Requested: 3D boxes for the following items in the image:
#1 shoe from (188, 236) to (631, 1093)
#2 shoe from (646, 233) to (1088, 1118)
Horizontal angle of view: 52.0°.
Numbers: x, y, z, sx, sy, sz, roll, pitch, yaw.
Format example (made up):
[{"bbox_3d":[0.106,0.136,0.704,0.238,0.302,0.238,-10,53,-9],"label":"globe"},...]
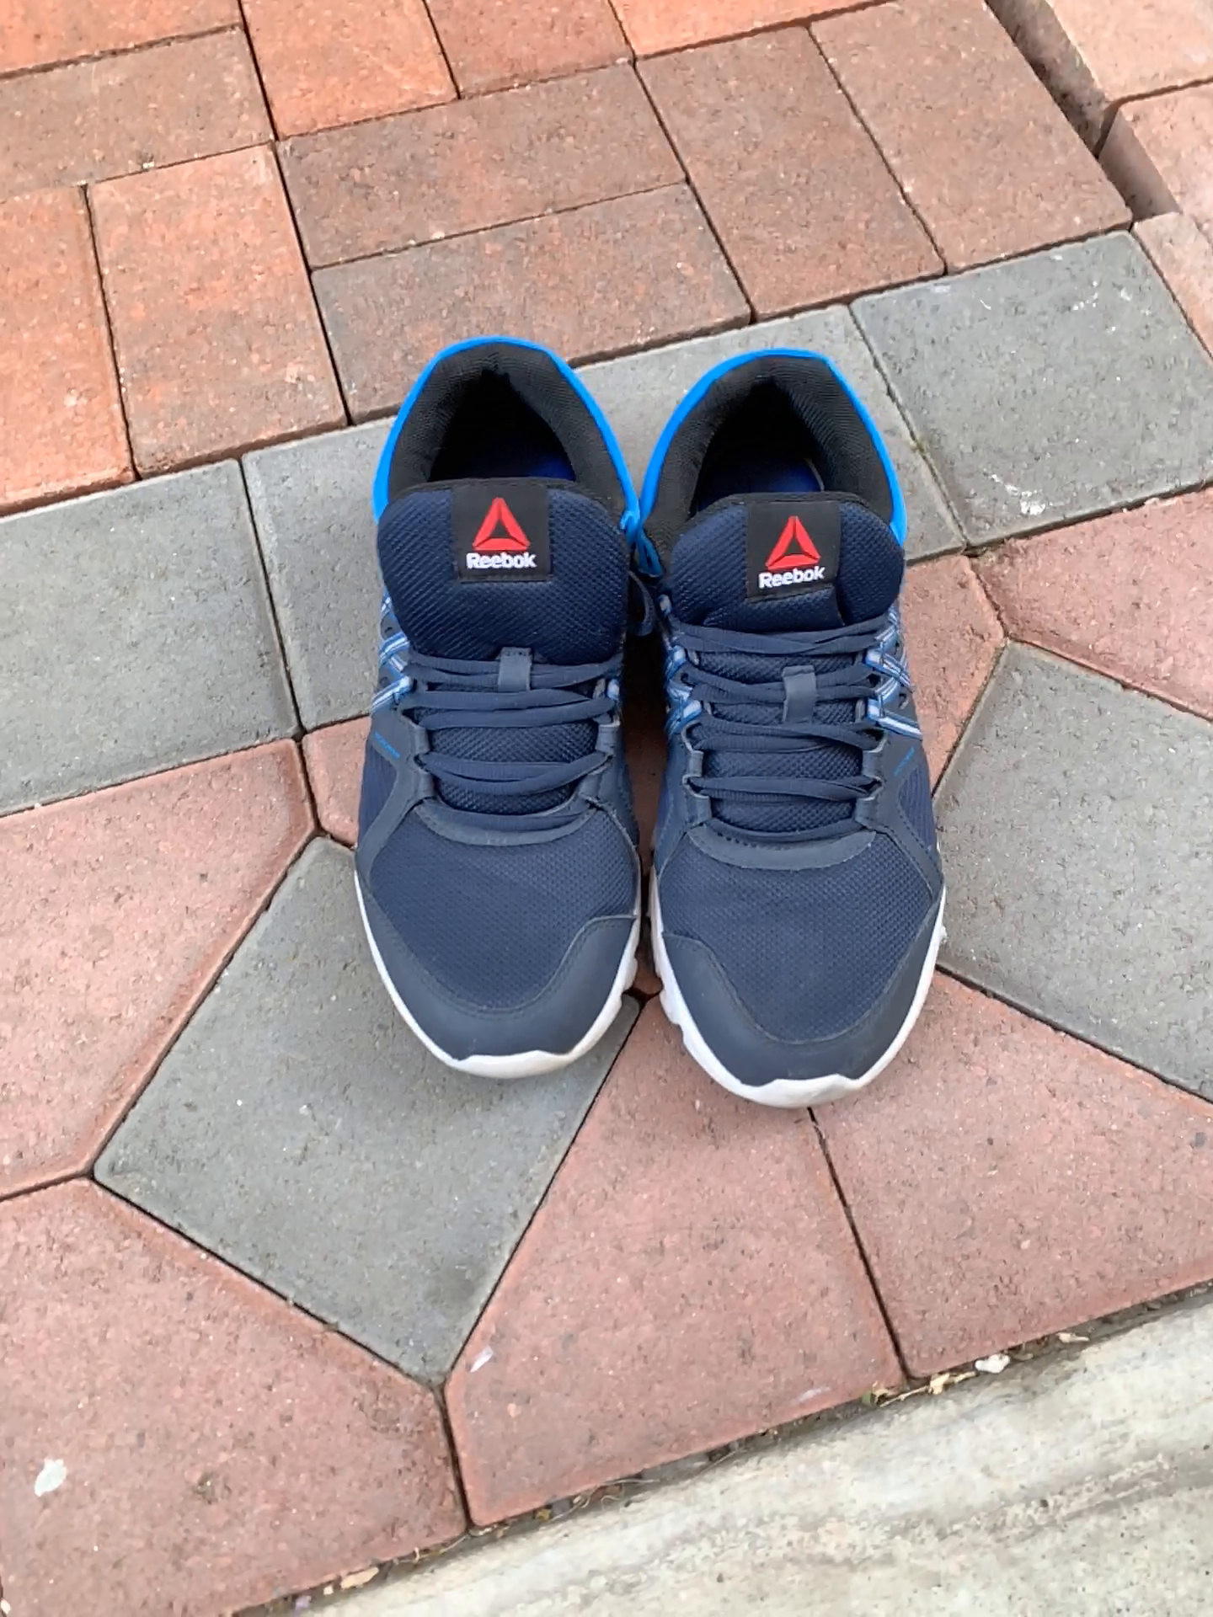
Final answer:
[{"bbox_3d":[-0.048,-0.047,0.419,0.110,0.119,0.262,-1,67,2],"label":"shoe"},{"bbox_3d":[0.070,-0.046,0.430,0.110,0.119,0.282,-1,67,2],"label":"shoe"}]
